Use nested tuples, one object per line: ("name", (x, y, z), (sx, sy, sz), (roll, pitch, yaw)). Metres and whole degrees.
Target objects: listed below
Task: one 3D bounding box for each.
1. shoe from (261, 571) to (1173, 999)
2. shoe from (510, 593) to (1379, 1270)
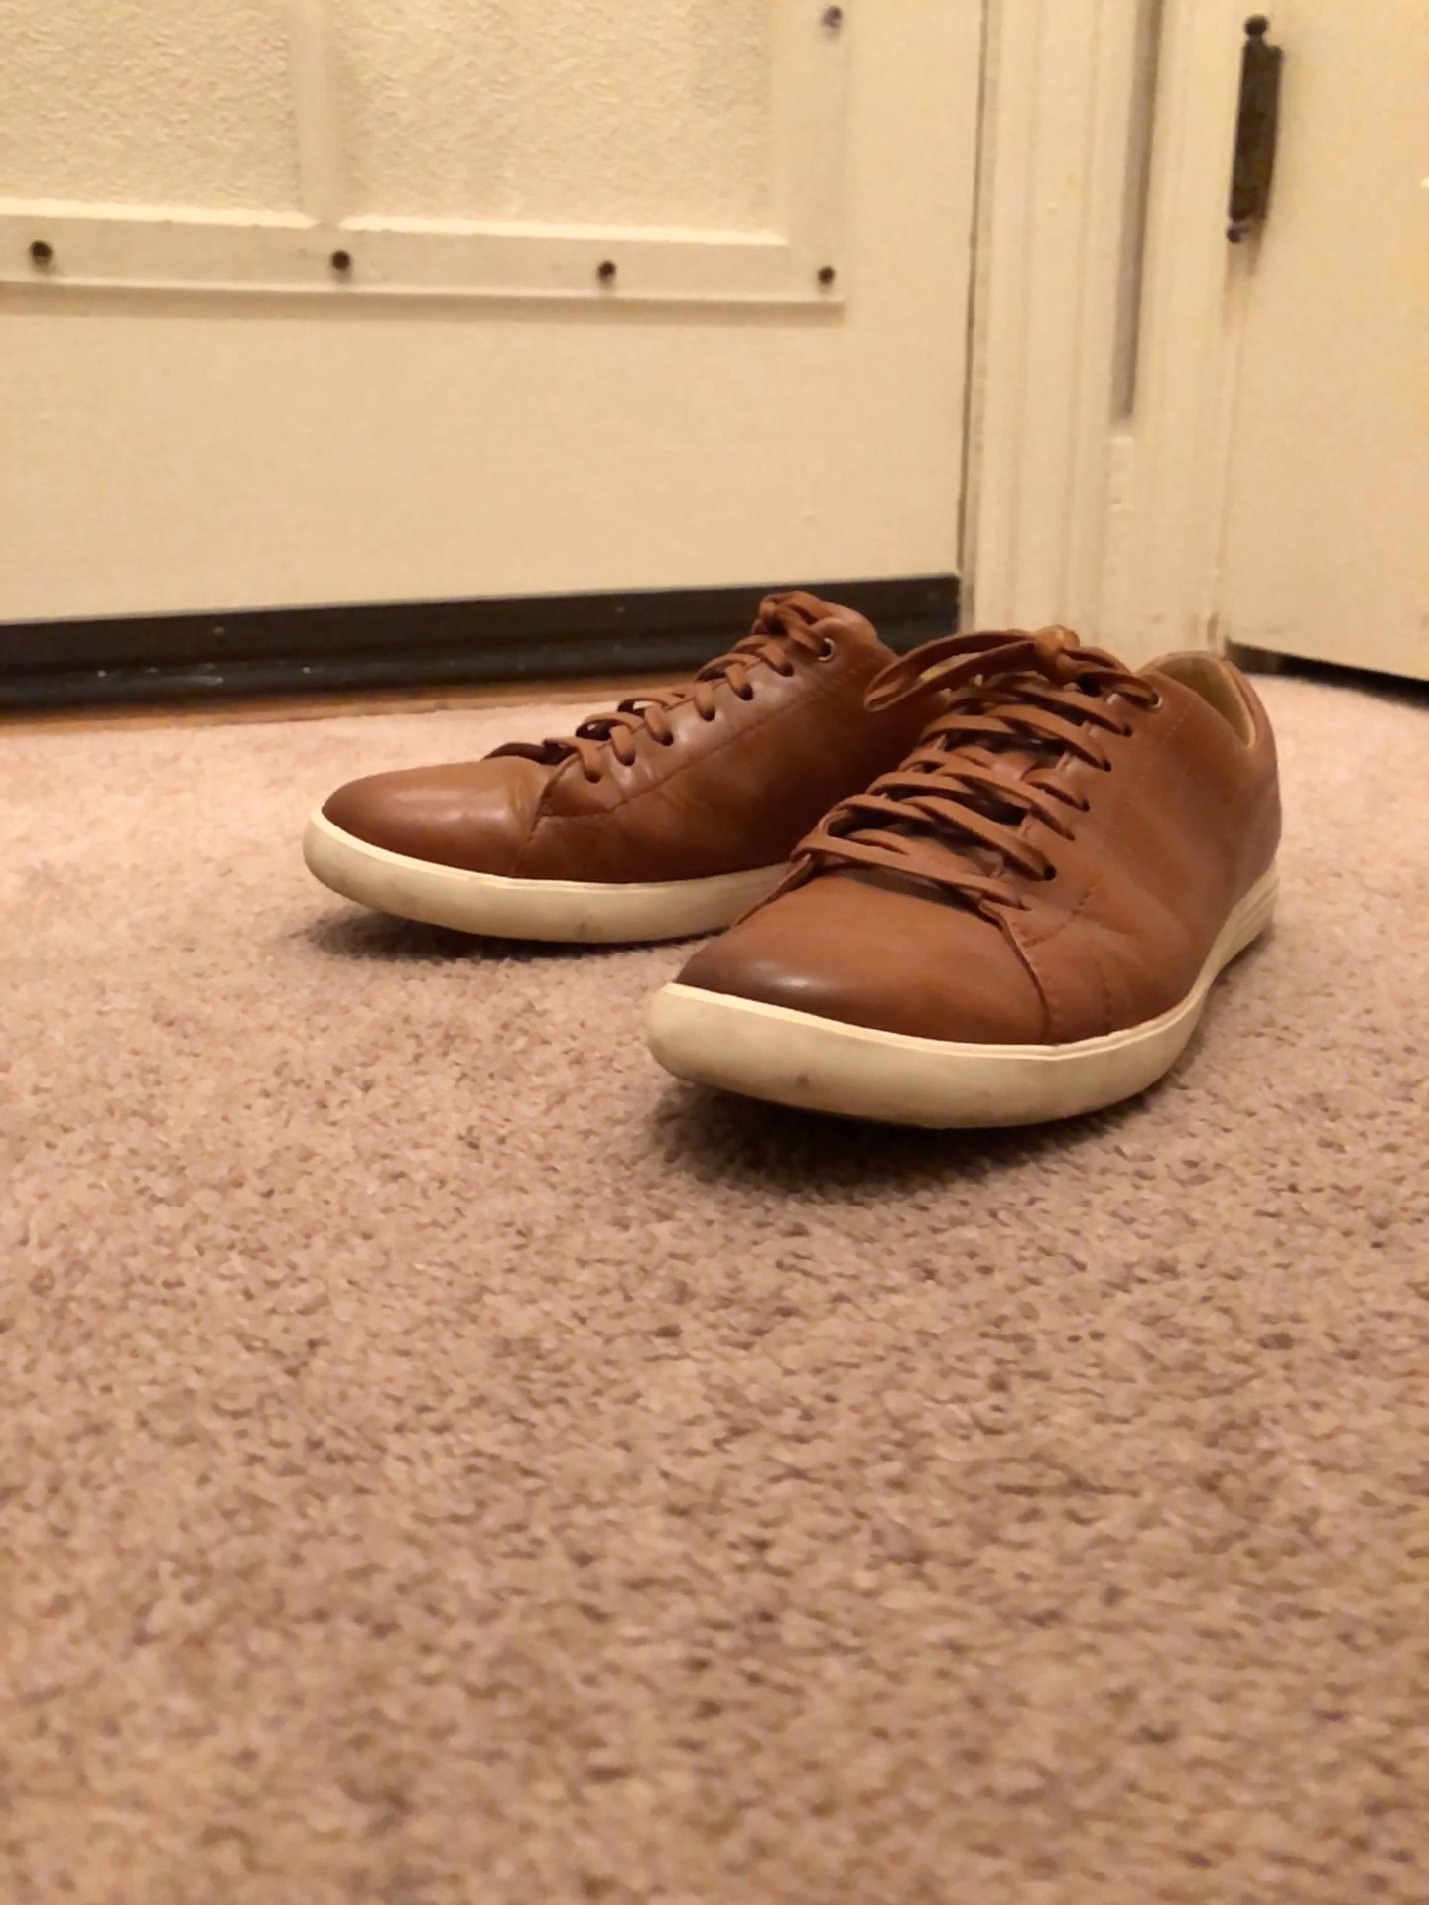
("shoe", (0.003, -0.071, 0.549), (0.285, 0.102, 0.117), (-8, 20, -23))
("shoe", (0.084, -0.033, 0.436), (0.117, 0.100, 0.286), (11, 21, 32))
